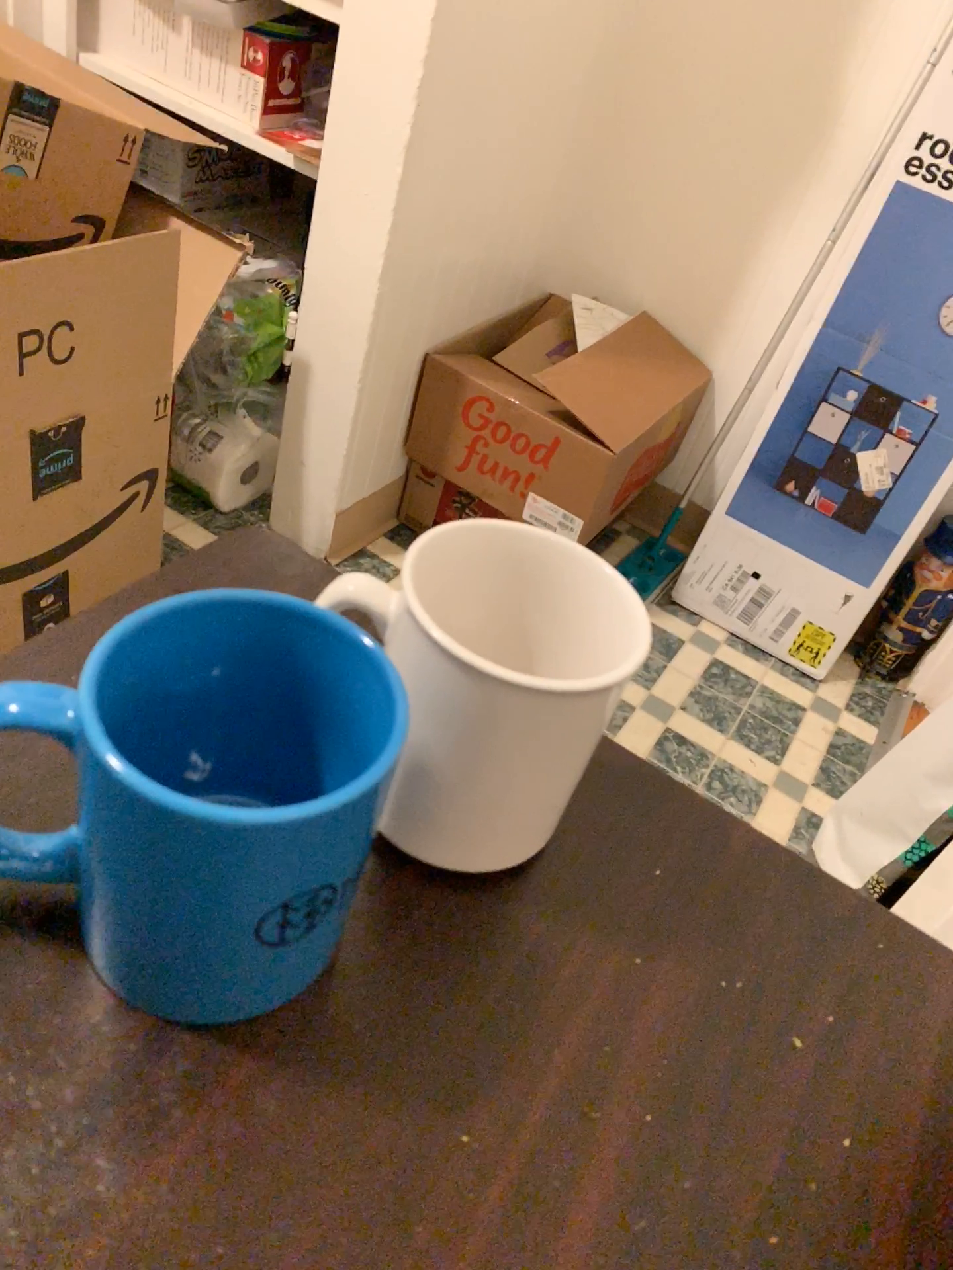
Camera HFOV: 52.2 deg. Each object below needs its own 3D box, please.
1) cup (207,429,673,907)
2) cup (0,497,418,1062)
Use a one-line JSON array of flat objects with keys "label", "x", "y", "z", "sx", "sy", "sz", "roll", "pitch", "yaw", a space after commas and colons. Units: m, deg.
[{"label": "cup", "x": -0.011, "y": 0.009, "z": 0.326, "sx": 0.120, "sy": 0.089, "sz": 0.091, "roll": 19, "pitch": 39, "yaw": 1}, {"label": "cup", "x": -0.096, "y": 0.042, "z": 0.266, "sx": 0.140, "sy": 0.099, "sz": 0.091, "roll": 10, "pitch": 39, "yaw": -11}]
